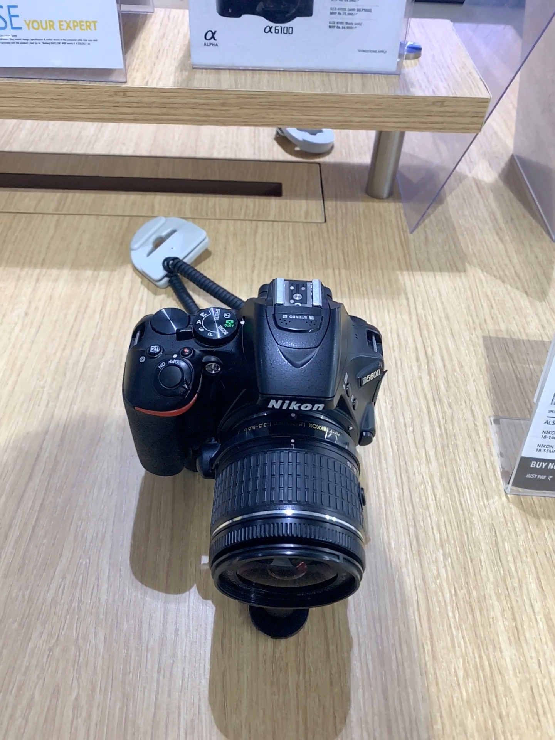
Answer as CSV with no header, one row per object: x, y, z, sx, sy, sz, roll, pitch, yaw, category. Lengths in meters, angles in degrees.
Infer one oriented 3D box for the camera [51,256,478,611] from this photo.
-0.005,0.024,0.234,0.124,0.080,0.114,3,48,-3,camera
